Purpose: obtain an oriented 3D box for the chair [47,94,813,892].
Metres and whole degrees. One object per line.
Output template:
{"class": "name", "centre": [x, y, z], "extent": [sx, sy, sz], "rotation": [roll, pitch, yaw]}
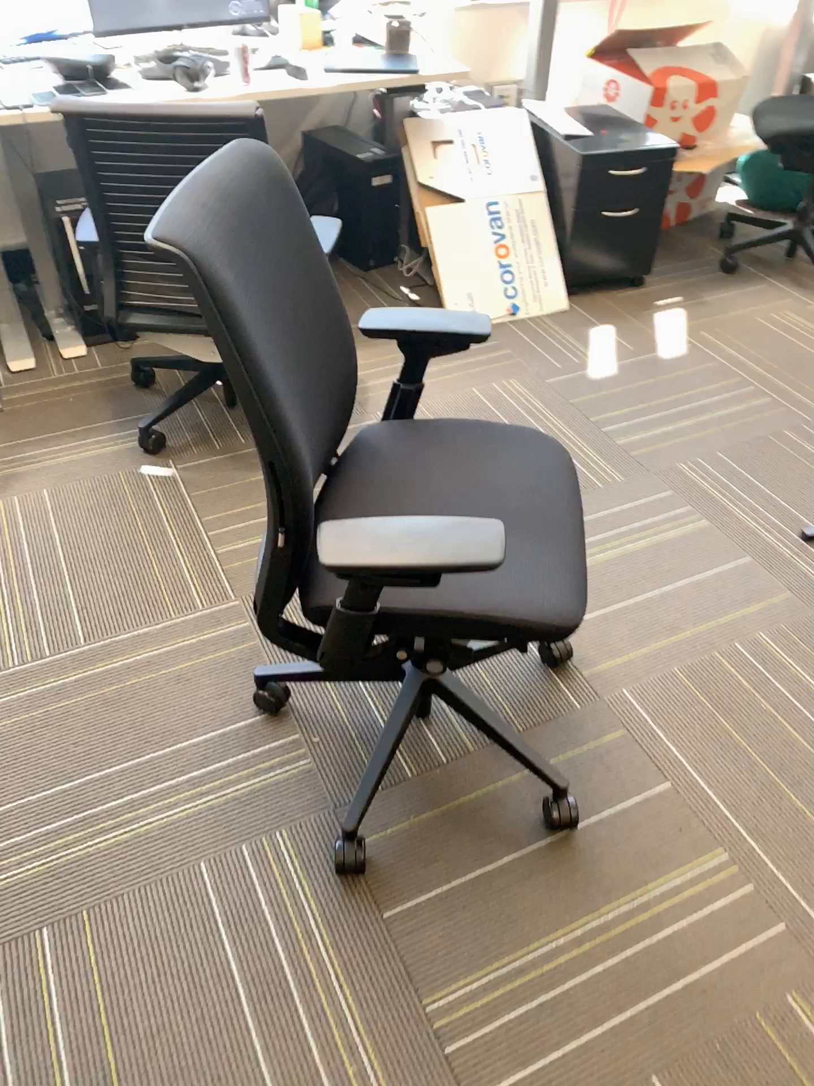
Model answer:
{"class": "chair", "centre": [0.027, -0.063, 1.332], "extent": [0.670, 0.994, 0.754], "rotation": [2, 41, 1]}
